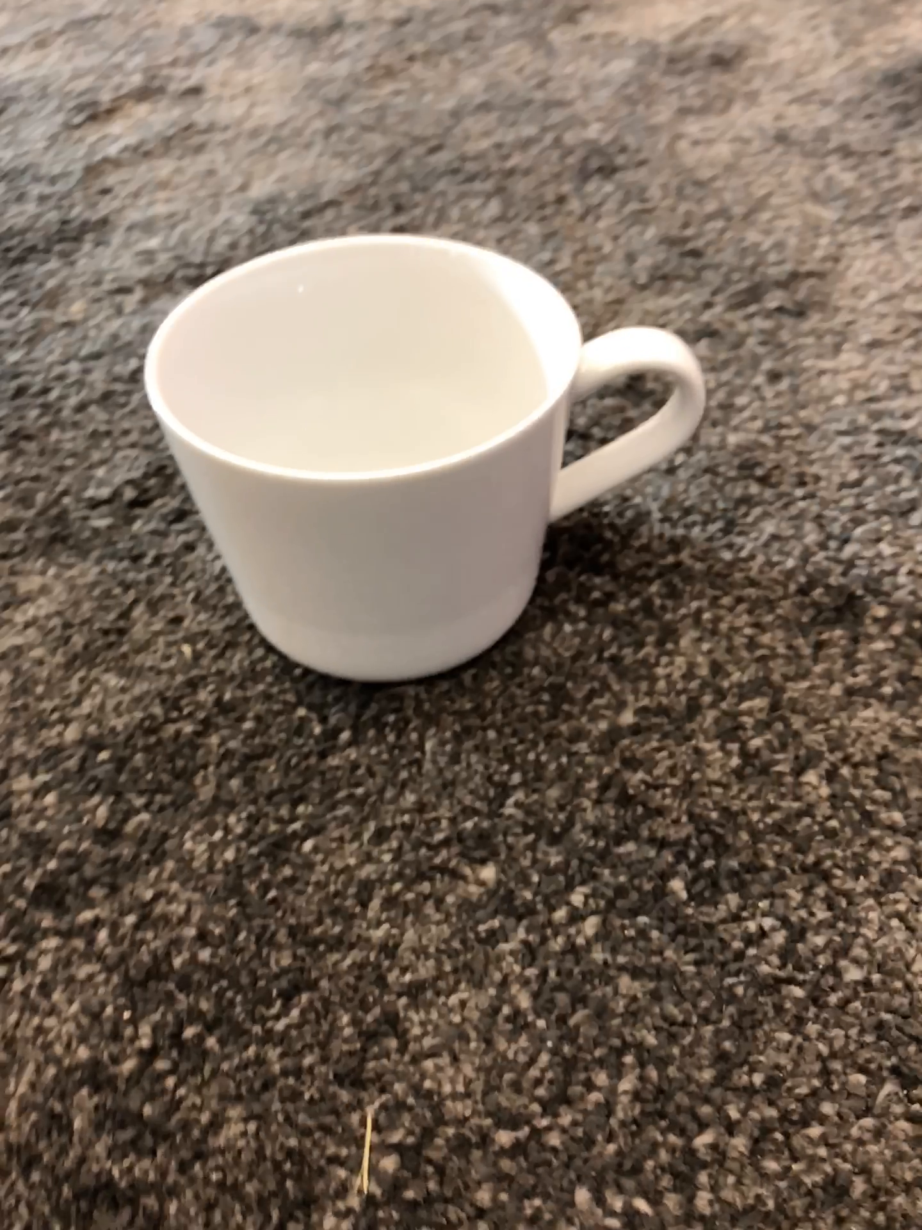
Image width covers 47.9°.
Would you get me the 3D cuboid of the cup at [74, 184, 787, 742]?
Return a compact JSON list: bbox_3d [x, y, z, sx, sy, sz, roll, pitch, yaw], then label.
[{"bbox_3d":[-0.009,-0.041,0.265,0.140,0.080,0.100,-7,47,-2],"label":"cup"}]
